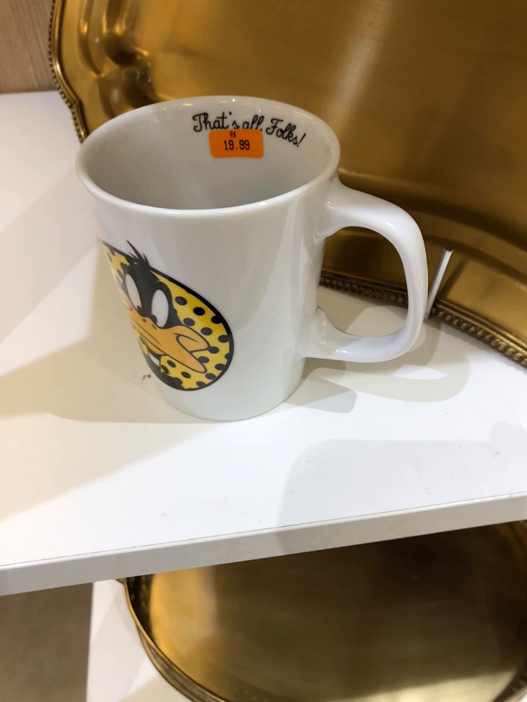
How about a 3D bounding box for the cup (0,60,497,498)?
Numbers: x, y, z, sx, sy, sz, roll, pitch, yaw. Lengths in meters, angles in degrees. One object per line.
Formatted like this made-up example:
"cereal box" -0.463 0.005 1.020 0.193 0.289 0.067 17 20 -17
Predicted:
"cup" 0.001 -0.029 0.200 0.120 0.089 0.091 14 47 15
